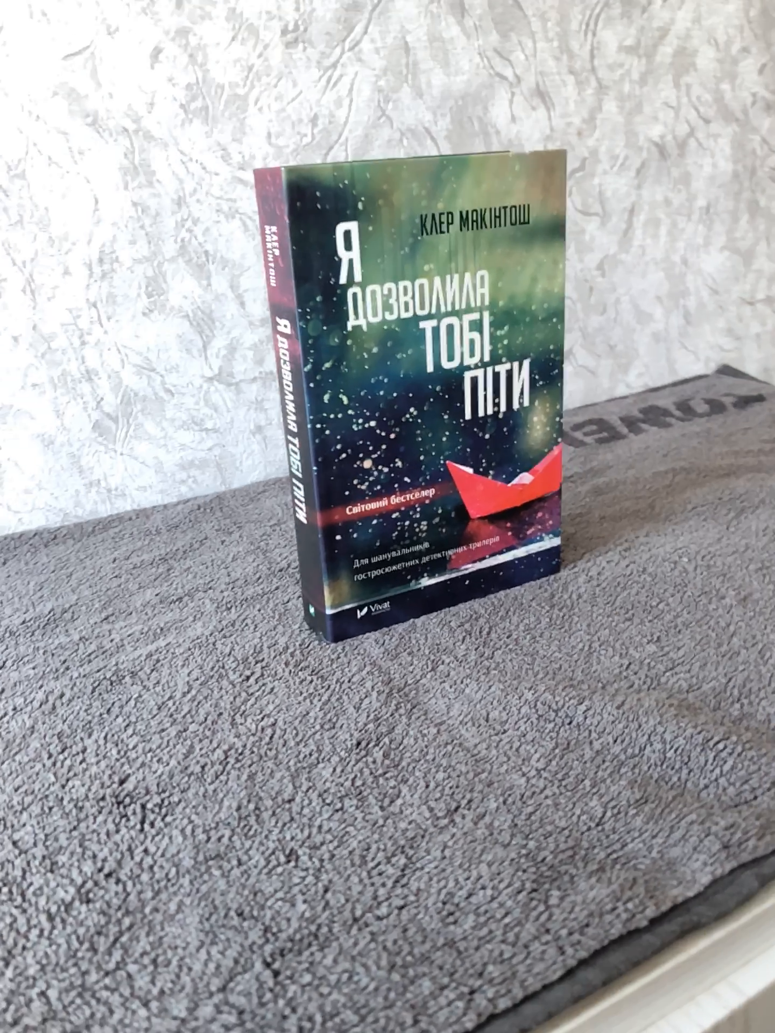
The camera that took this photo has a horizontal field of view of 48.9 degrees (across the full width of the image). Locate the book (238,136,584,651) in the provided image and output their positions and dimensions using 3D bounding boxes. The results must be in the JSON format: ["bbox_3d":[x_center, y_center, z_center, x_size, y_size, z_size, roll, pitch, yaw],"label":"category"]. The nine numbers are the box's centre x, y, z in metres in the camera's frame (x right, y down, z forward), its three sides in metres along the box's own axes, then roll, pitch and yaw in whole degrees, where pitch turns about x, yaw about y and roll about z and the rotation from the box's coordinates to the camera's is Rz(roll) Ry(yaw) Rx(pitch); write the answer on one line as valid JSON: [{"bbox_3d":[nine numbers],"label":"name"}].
[{"bbox_3d":[0.019,-0.058,0.387,0.139,0.201,0.044,-16,26,-27],"label":"book"}]
